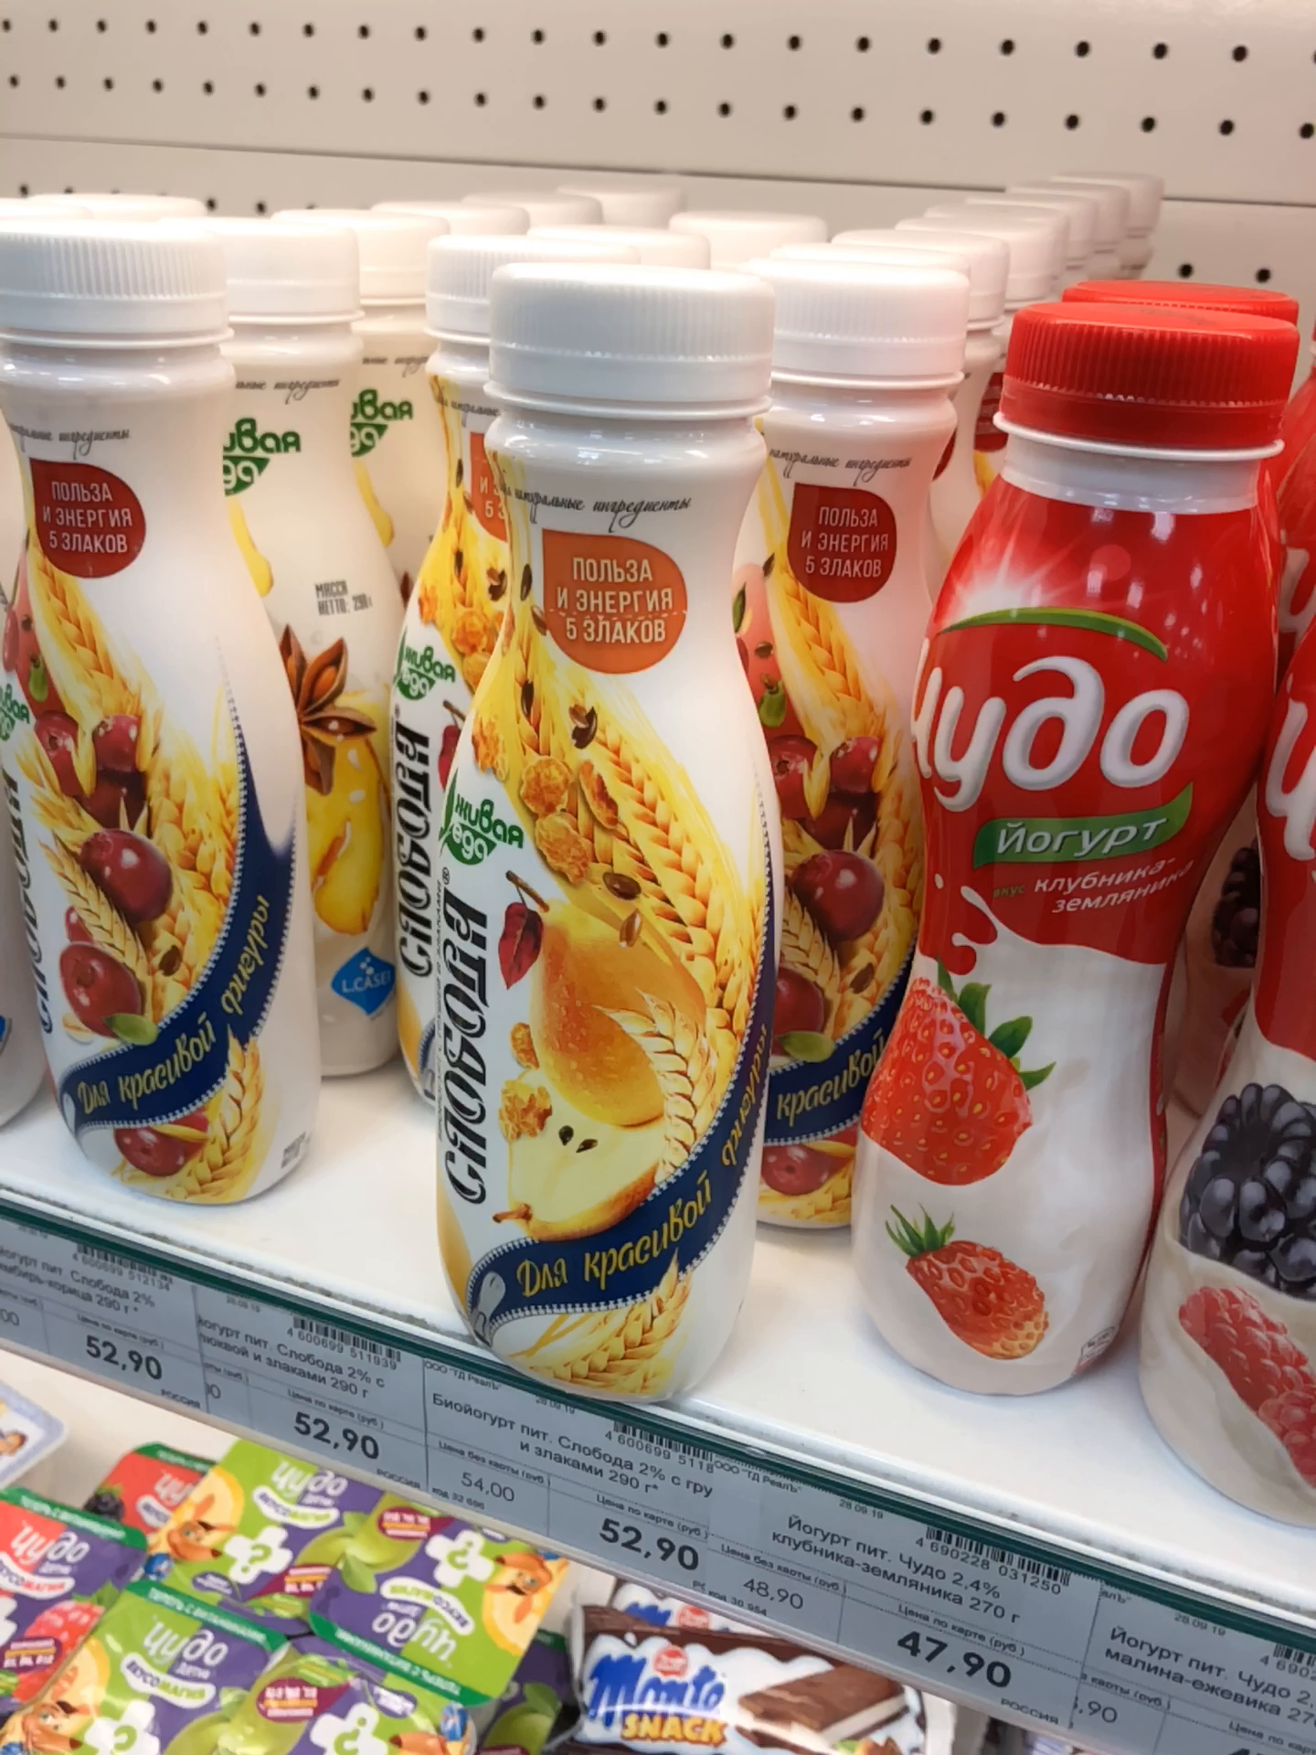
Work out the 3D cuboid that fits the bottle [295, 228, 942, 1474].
[{"bbox_3d":[-0.006,-0.002,0.245,0.070,0.189,0.060,13,29,21],"label":"bottle"}]
